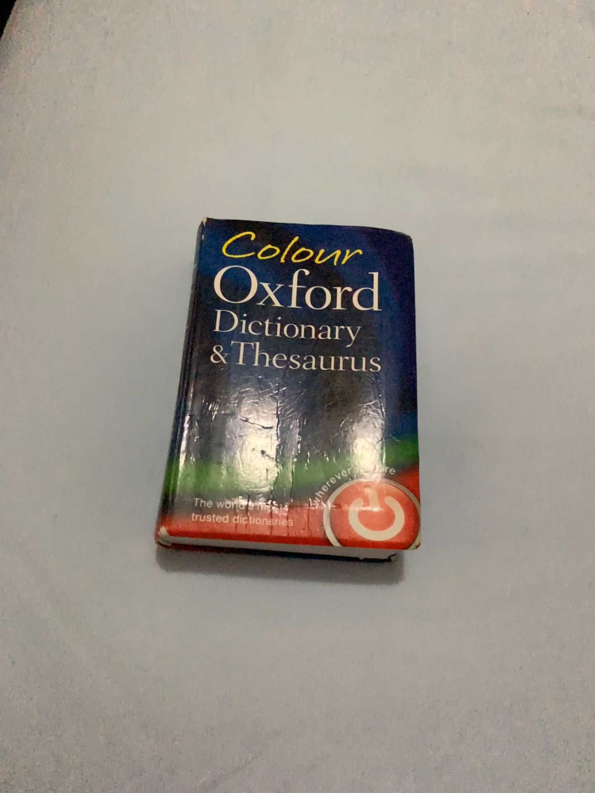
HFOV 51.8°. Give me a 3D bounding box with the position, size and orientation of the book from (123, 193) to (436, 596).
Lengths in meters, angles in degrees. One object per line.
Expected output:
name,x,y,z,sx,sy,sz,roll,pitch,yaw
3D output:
book,-0.002,-0.007,0.284,0.120,0.040,0.181,2,69,4
